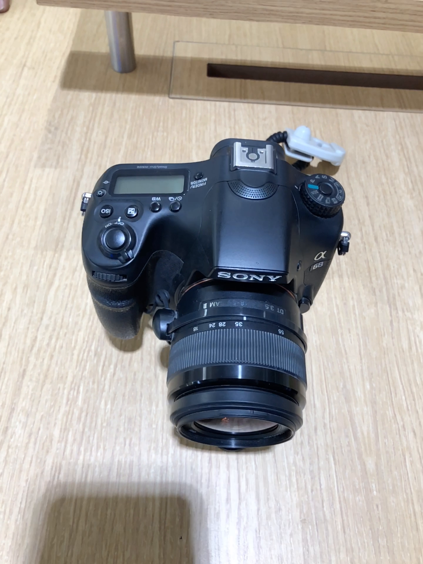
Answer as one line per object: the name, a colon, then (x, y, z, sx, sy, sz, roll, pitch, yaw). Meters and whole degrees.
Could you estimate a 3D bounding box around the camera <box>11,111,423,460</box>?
camera: (0.008, 0.002, 0.214, 0.140, 0.080, 0.131, 3, 57, -2)
